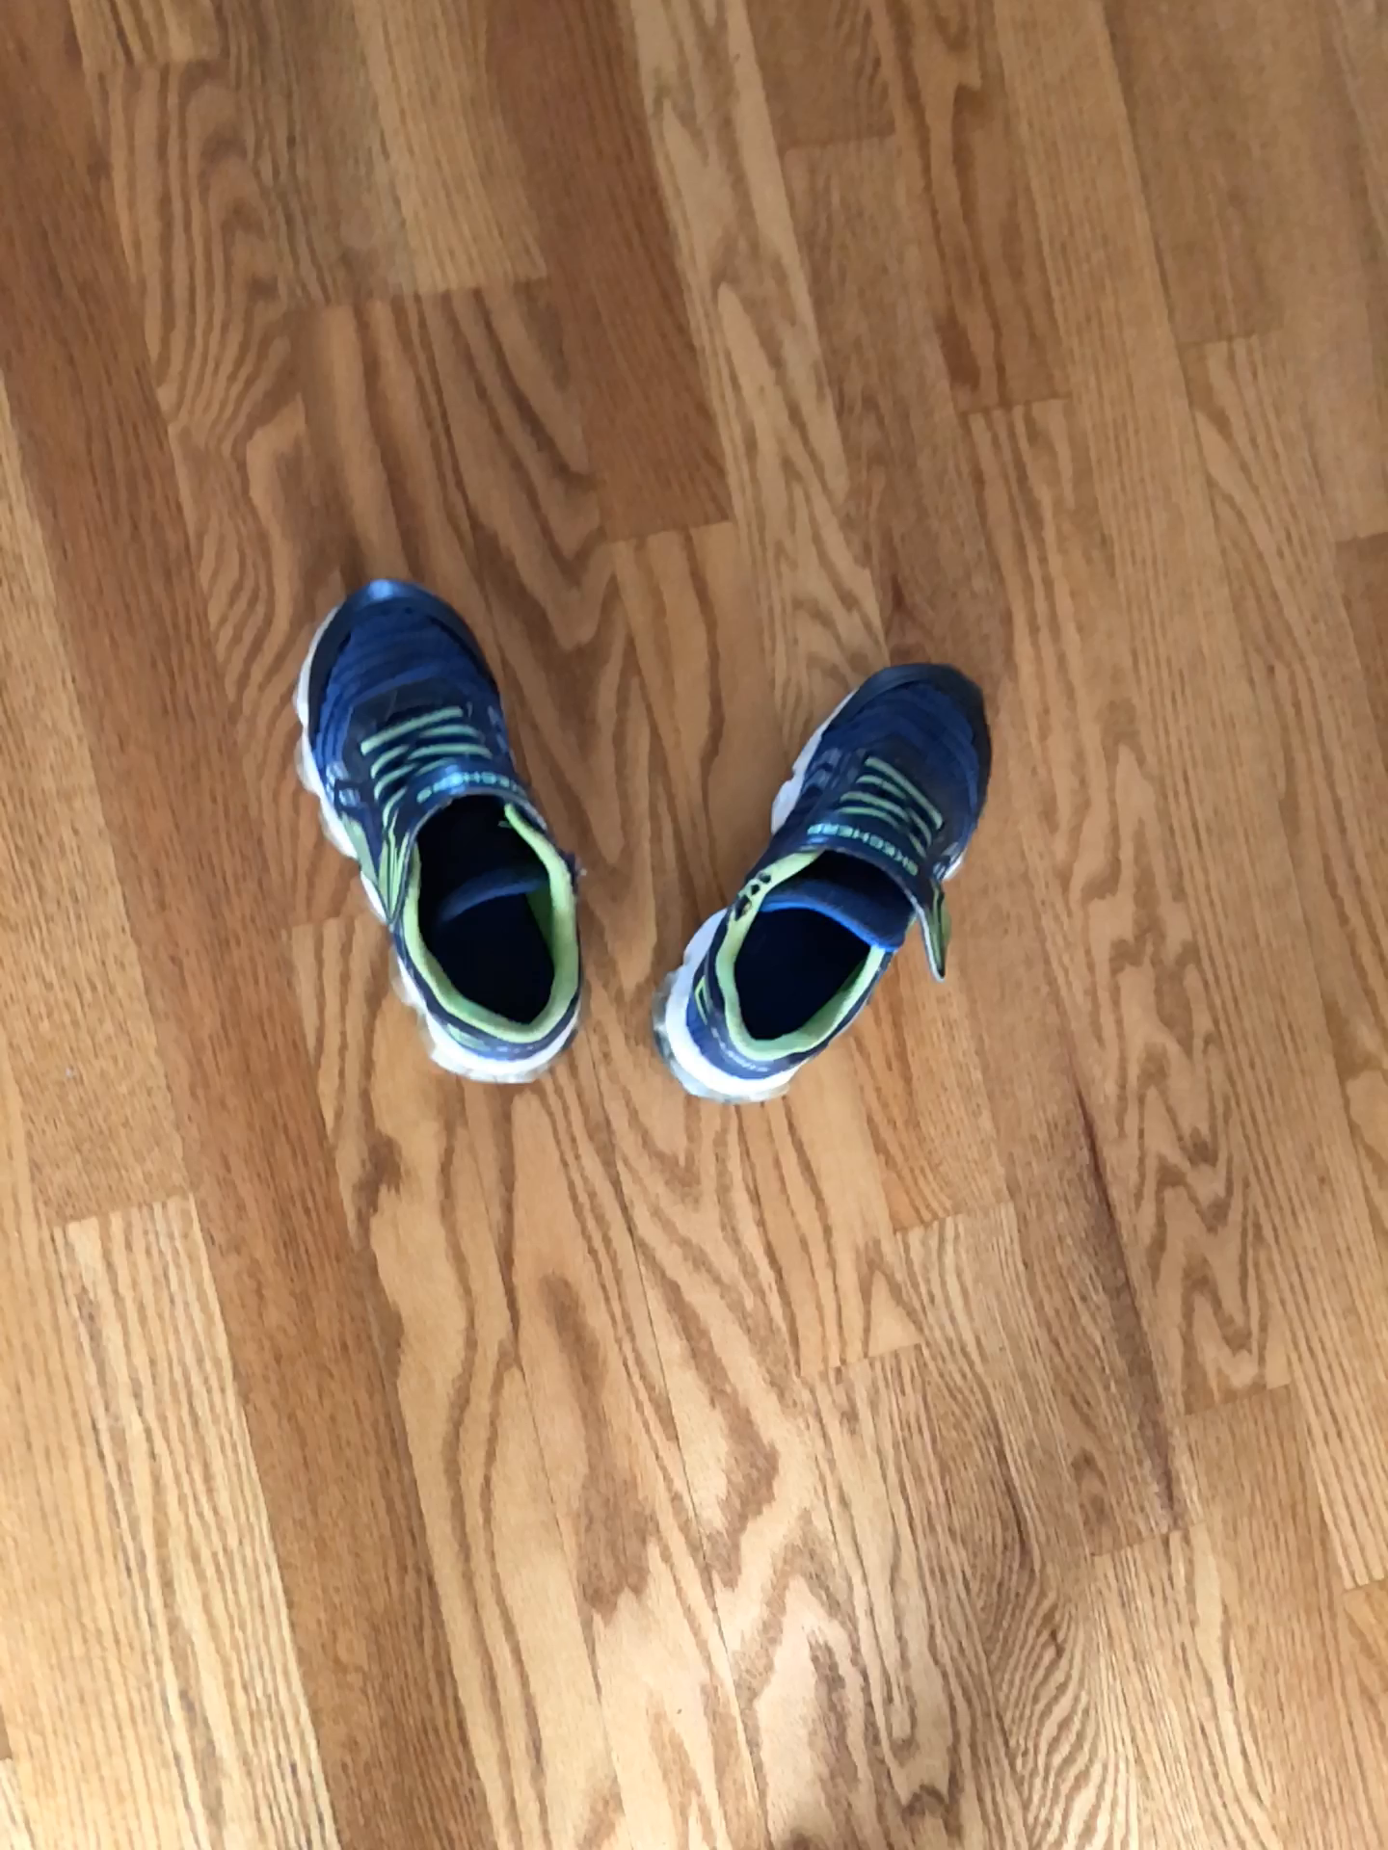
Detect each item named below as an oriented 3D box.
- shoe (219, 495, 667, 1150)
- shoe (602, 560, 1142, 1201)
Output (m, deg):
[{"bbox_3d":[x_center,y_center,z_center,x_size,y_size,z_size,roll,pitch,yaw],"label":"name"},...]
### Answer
[{"bbox_3d":[-0.092,-0.034,0.560,0.093,0.095,0.203,-17,92,-12],"label":"shoe"},{"bbox_3d":[0.065,-0.016,0.588,0.093,0.087,0.212,32,82,-9],"label":"shoe"}]
